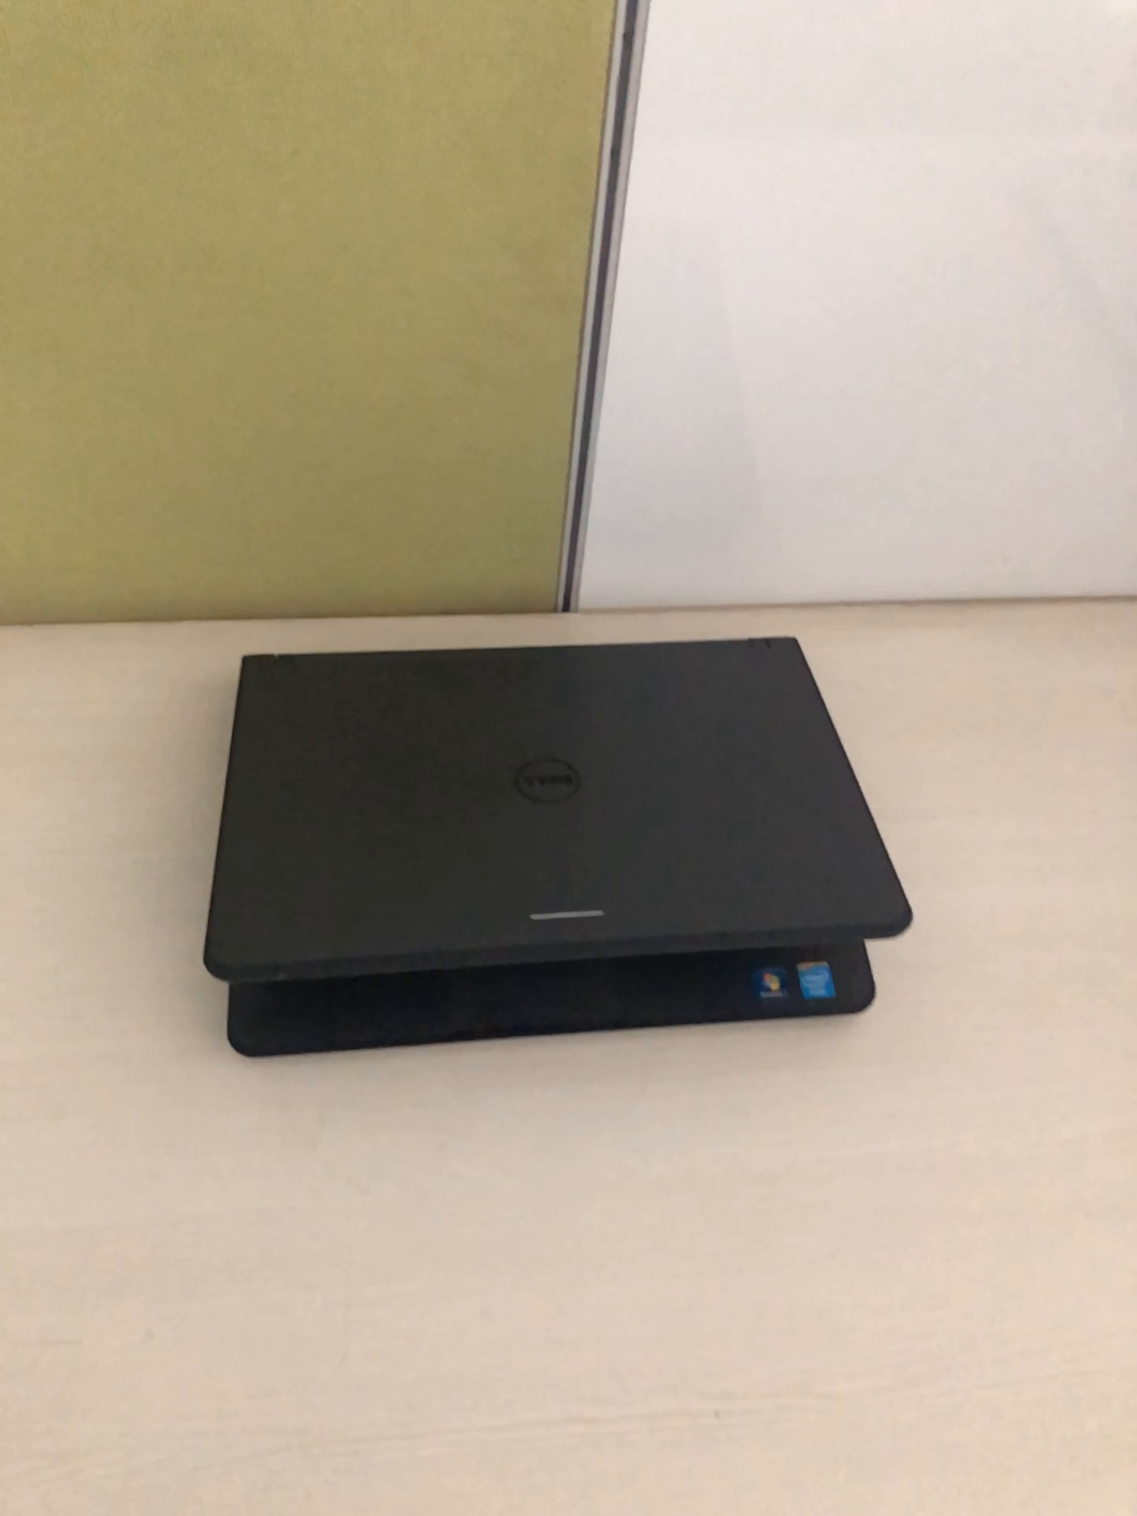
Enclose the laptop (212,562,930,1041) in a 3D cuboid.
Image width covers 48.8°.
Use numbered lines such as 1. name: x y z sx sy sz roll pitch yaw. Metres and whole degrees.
1. laptop: -0.008 0.013 0.651 0.322 0.072 0.230 -2 56 -6
